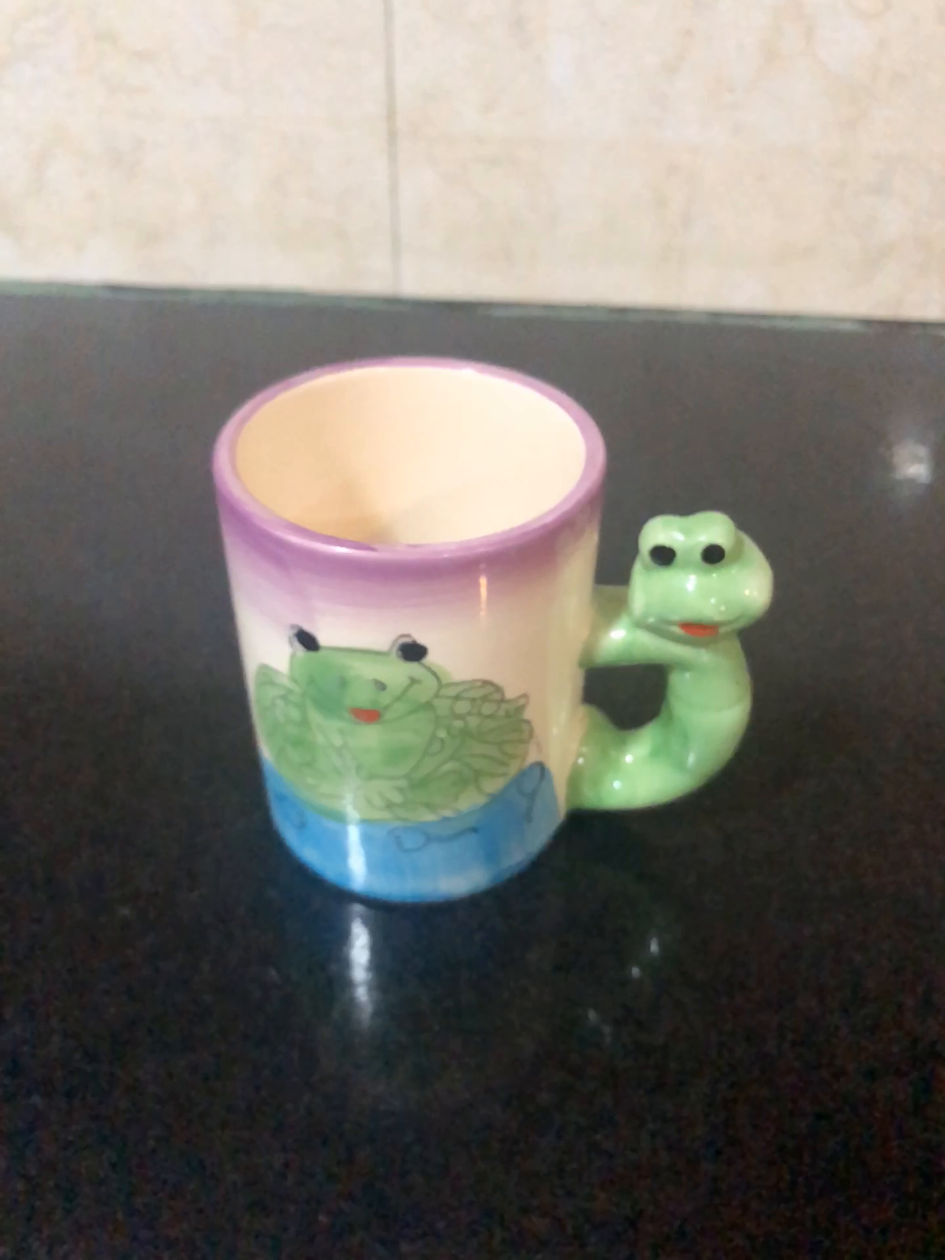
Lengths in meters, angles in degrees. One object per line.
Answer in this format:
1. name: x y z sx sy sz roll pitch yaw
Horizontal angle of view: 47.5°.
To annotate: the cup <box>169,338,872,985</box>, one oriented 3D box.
1. cup: 0.005 0.006 0.232 0.110 0.109 0.081 -2 38 -4
